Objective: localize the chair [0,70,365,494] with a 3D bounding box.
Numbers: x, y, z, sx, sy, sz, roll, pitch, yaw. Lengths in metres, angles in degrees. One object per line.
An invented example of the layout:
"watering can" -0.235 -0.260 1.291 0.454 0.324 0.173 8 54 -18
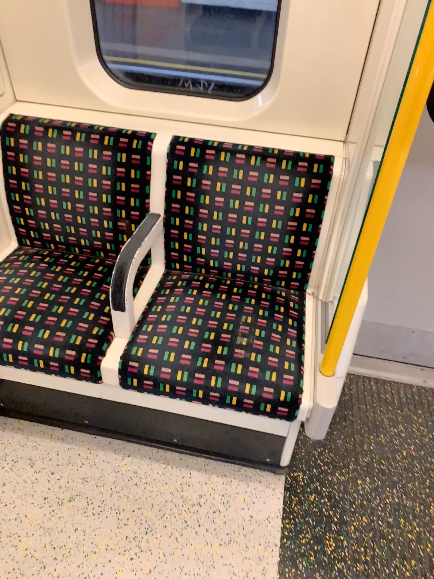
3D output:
"chair" -0.217 -0.102 1.366 1.060 0.762 0.919 9 40 6
